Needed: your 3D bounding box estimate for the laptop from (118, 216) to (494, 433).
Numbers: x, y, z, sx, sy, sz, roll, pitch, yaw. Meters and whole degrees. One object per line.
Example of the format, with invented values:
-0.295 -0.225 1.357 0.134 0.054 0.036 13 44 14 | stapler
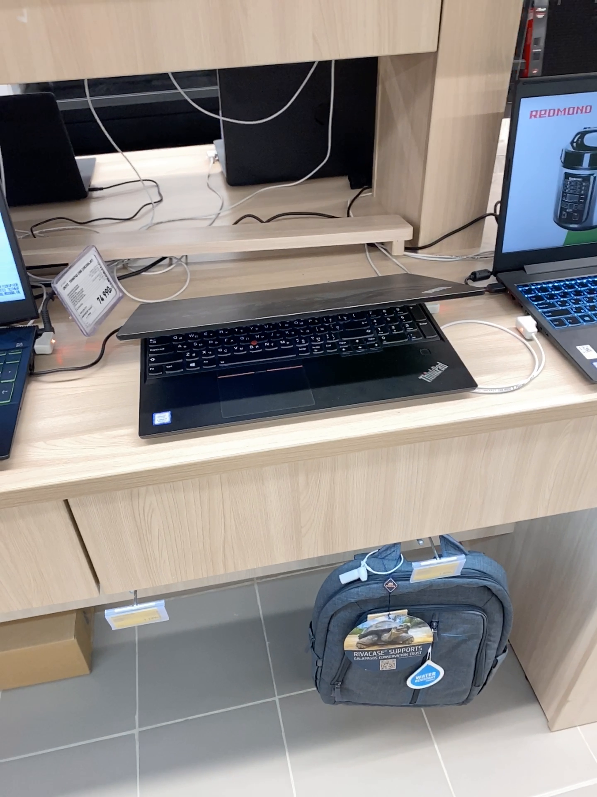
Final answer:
-0.007 -0.101 0.705 0.368 0.093 0.241 -8 40 -6 | laptop
